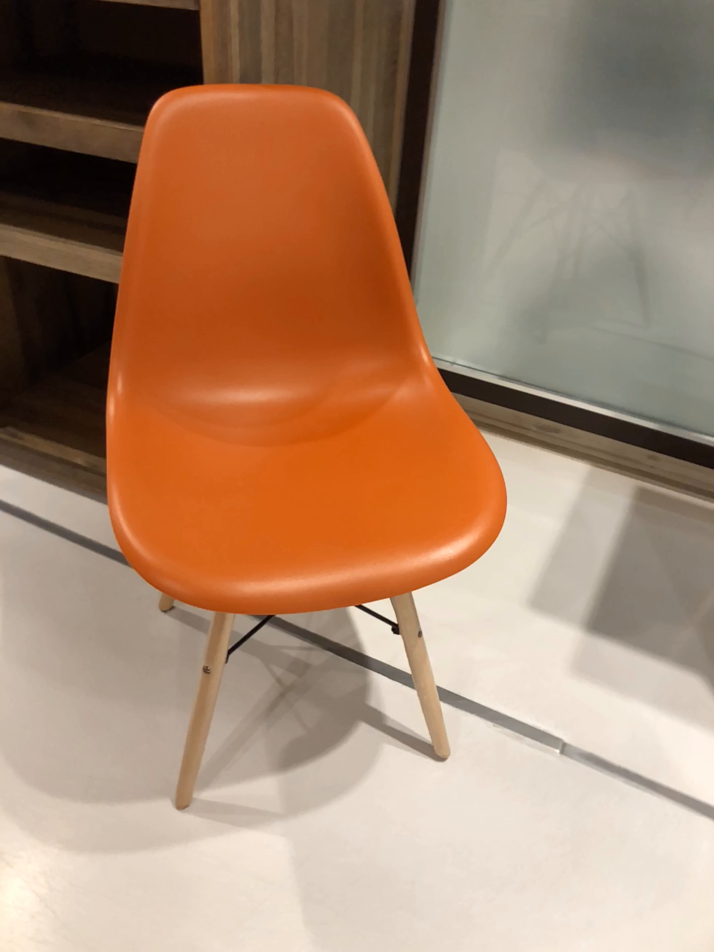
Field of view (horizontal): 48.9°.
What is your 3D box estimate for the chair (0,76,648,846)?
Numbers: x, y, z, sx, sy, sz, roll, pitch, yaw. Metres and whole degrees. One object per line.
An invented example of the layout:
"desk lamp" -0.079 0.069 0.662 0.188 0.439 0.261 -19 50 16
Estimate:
"chair" -0.097 -0.048 1.020 0.490 0.744 0.584 -6 37 -14
